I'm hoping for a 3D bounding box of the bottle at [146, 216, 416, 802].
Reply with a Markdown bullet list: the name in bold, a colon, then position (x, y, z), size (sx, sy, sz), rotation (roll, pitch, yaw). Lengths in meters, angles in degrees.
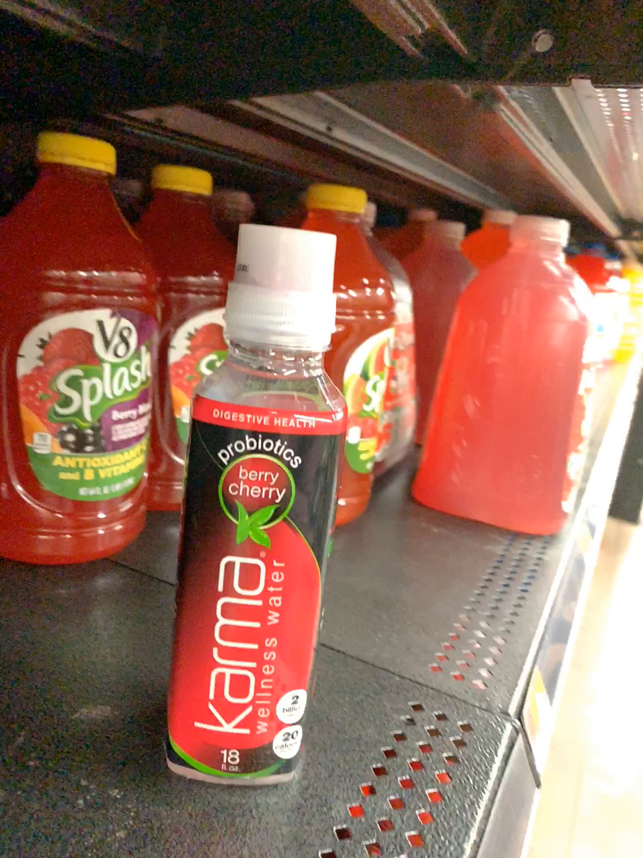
- **bottle**: position (-0.020, 0.031, 0.264), size (0.068, 0.209, 0.070), rotation (7, 15, -2)
